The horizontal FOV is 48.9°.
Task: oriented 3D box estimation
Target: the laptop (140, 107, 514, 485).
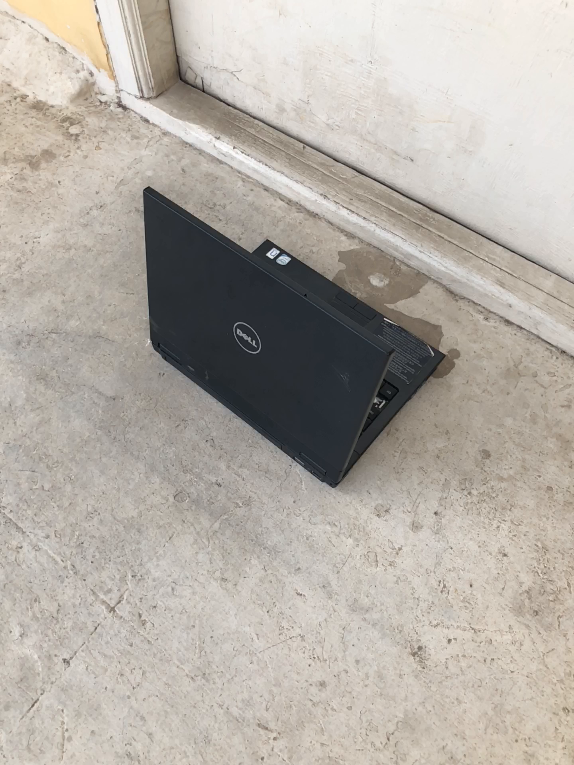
[{"bbox_3d":[0.035,-0.091,0.724,0.279,0.252,0.224,37,68,19],"label":"laptop"}]
